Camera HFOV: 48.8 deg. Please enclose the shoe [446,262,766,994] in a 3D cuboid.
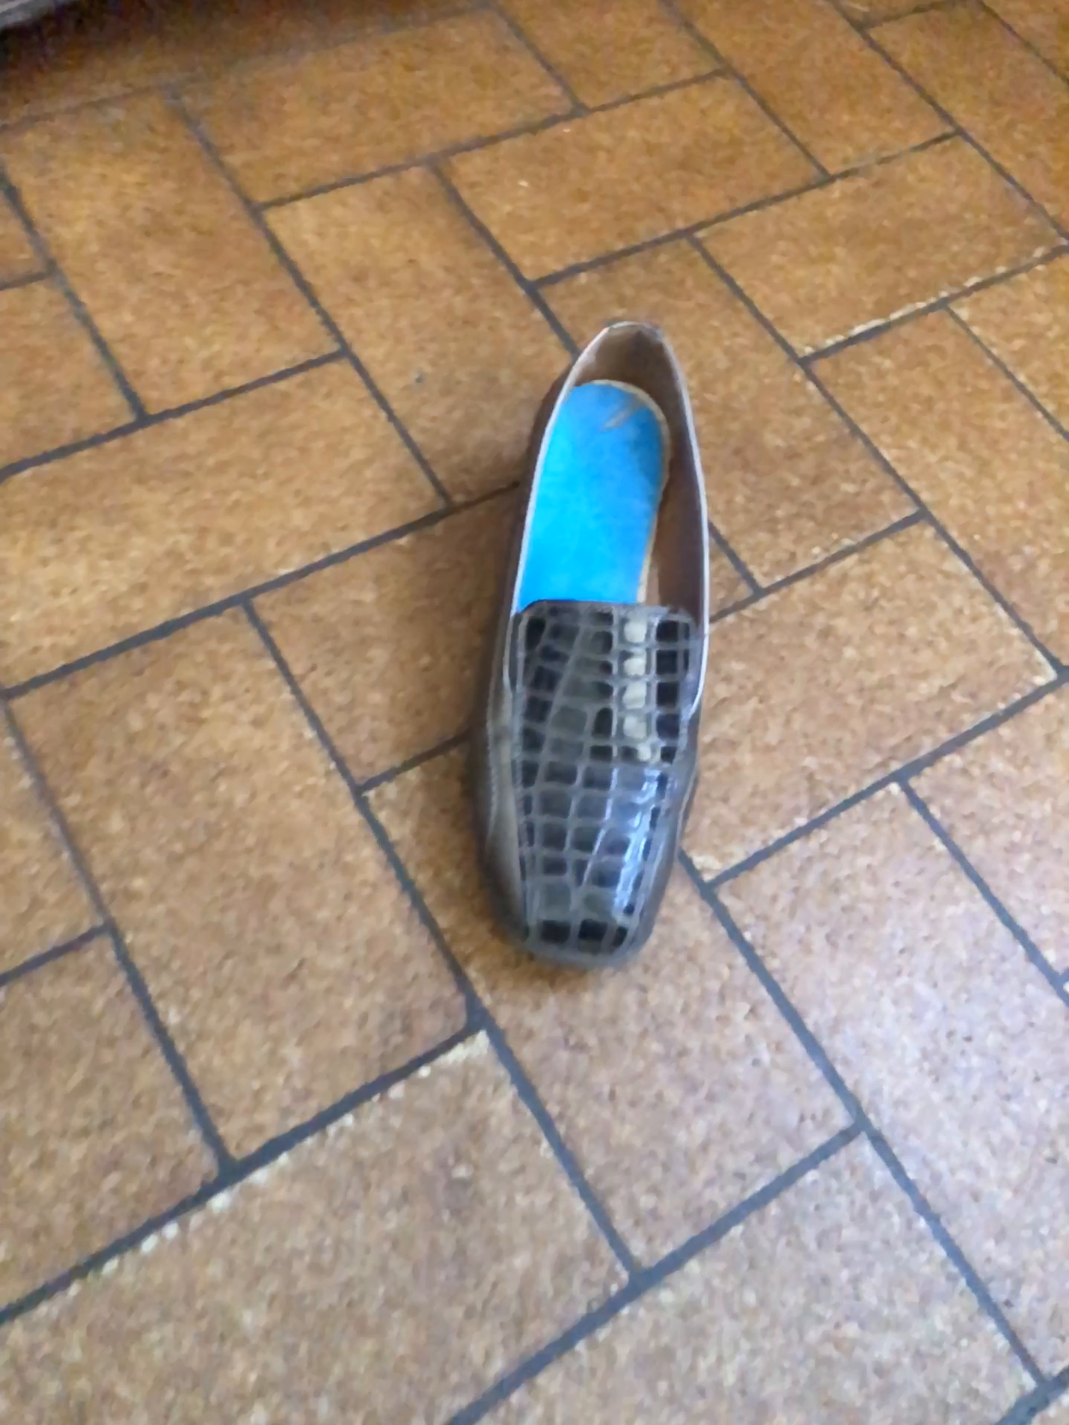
[{"bbox_3d":[0.025,-0.037,0.449,0.090,0.090,0.261,6,63,-6],"label":"shoe"}]
